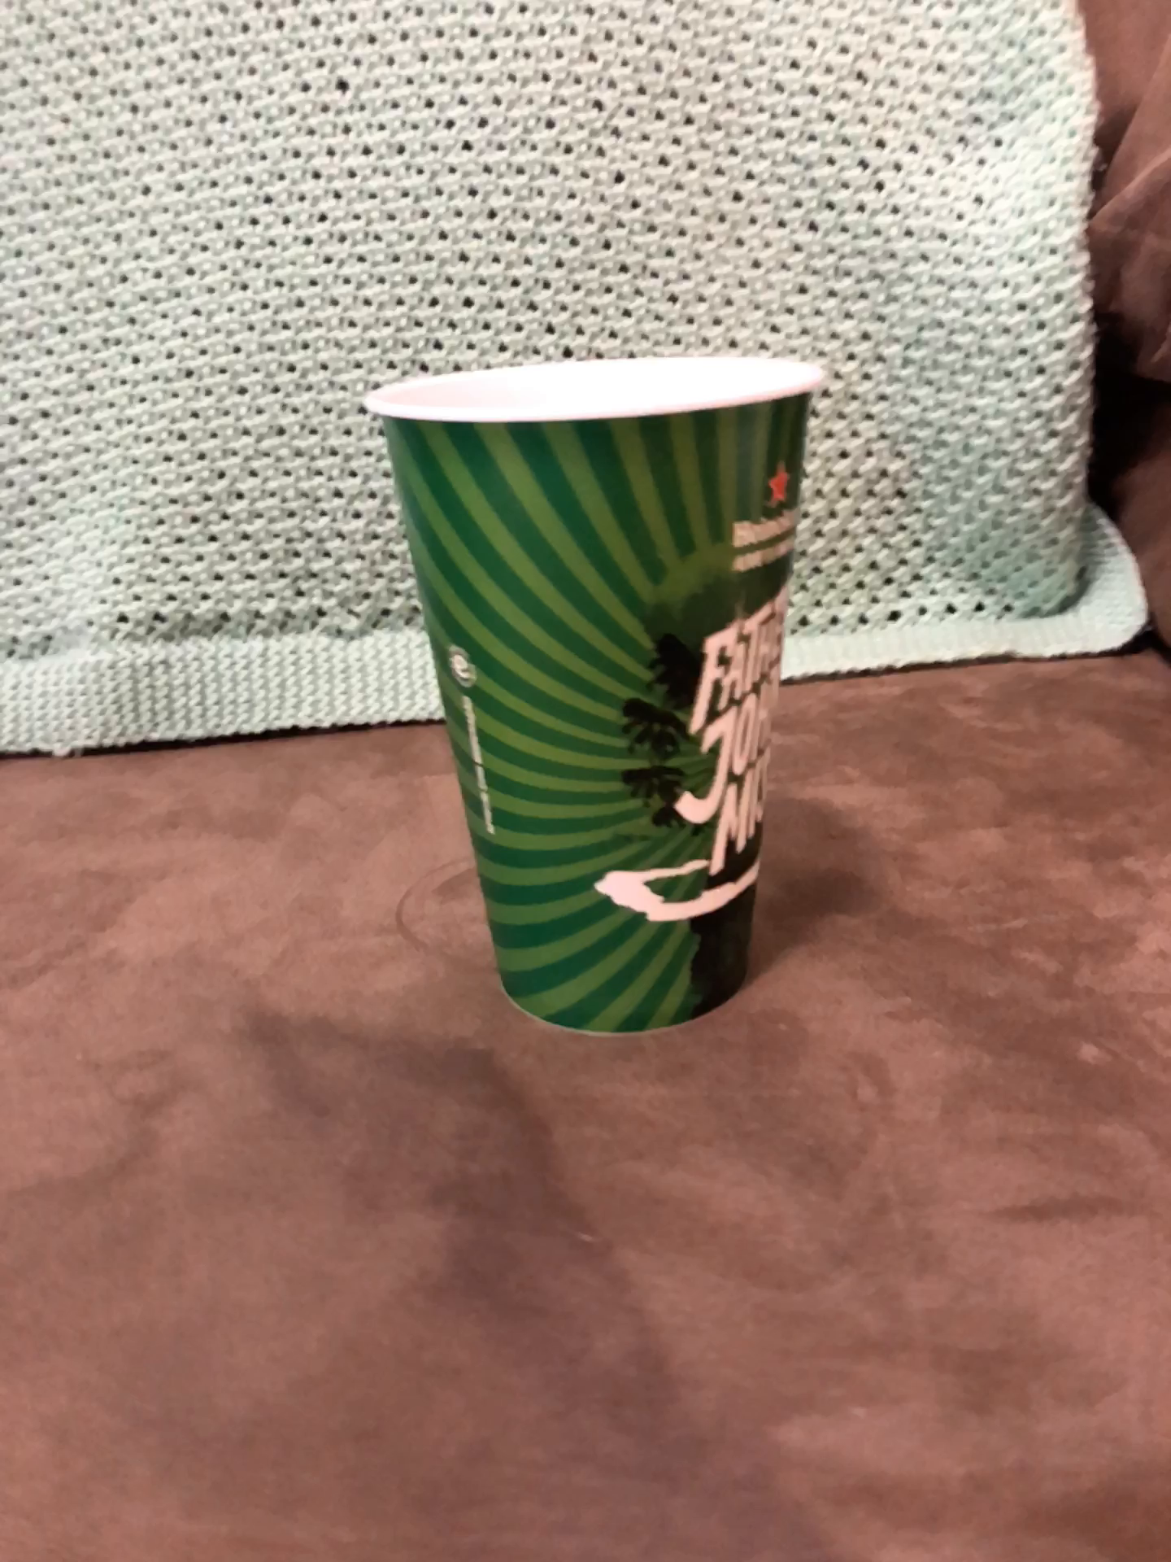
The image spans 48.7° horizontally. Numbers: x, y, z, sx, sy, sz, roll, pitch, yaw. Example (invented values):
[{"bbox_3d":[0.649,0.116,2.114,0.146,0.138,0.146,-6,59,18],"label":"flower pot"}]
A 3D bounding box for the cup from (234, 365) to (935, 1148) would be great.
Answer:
[{"bbox_3d":[0.002,-0.019,0.283,0.100,0.129,0.100,-3,21,1],"label":"cup"}]
